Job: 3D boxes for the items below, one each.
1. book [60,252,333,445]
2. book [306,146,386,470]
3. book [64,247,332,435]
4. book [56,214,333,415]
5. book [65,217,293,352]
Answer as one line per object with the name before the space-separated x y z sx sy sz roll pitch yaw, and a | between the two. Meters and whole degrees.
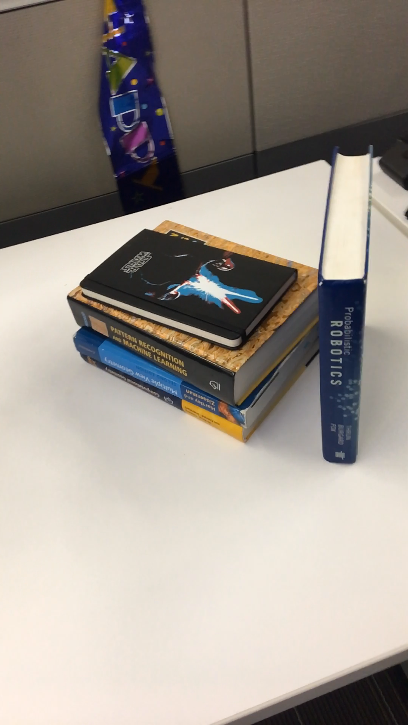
book | -0.010 -0.032 0.718 0.260 0.030 0.190 25 54 29
book | 0.137 -0.052 0.588 0.050 0.230 0.210 5 47 13
book | -0.006 -0.040 0.695 0.240 0.030 0.190 23 53 27
book | -0.010 -0.067 0.667 0.240 0.050 0.180 25 54 29
book | -0.026 -0.090 0.634 0.200 0.020 0.130 21 52 26
